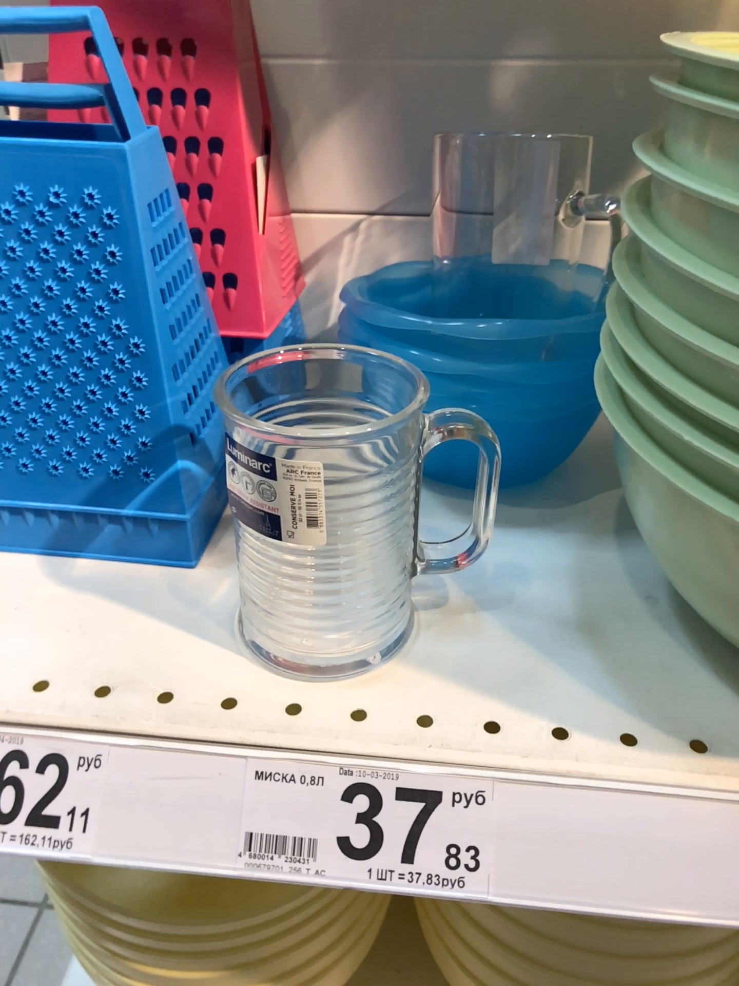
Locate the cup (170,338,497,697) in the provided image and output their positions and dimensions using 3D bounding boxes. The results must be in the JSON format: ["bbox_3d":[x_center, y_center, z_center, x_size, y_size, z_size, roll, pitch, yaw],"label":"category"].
[{"bbox_3d":[-0.007,0.007,0.317,0.102,0.104,0.087,2,34,4],"label":"cup"}]
